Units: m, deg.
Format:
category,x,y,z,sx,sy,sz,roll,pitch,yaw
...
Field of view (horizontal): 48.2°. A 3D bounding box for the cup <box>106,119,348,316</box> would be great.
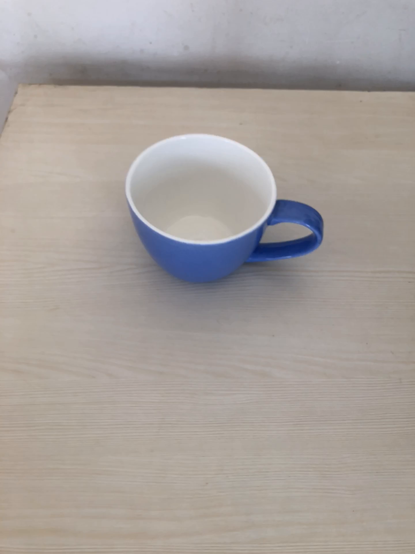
category,x,y,z,sx,sy,sz,roll,pitch,yaw
cup,0.018,-0.046,0.348,0.150,0.070,0.101,12,55,5
